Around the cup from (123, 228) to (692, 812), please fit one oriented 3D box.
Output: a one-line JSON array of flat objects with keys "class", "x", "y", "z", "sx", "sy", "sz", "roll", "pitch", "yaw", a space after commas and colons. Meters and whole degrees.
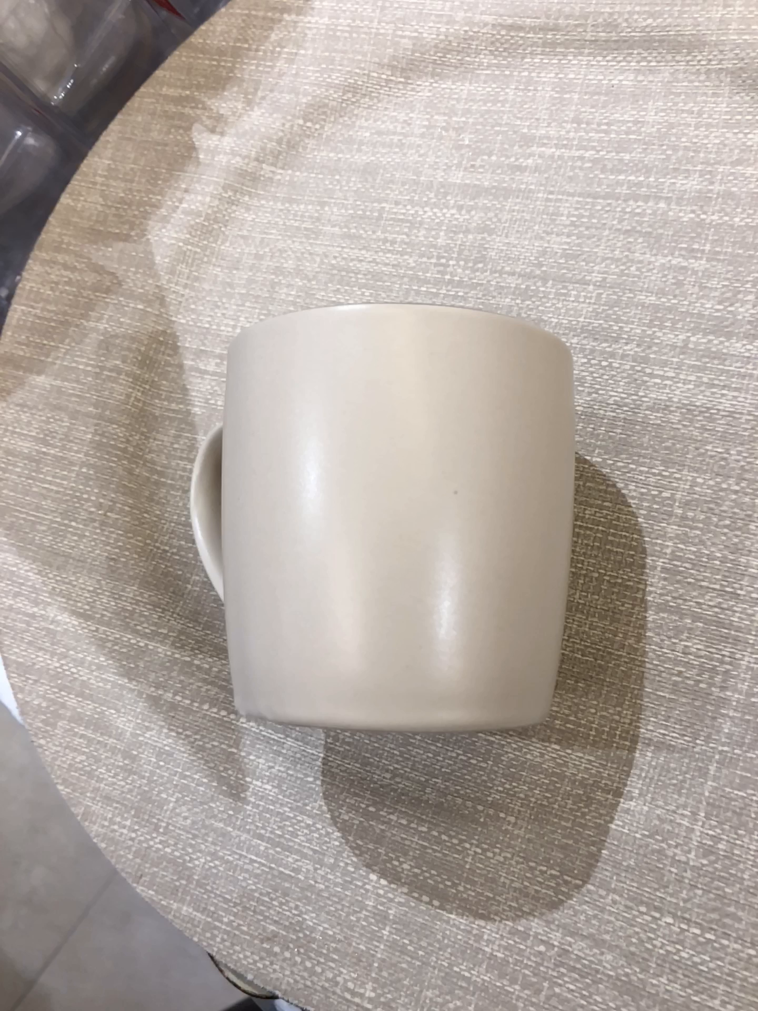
[{"class": "cup", "x": 0.001, "y": 0.010, "z": 0.192, "sx": 0.100, "sy": 0.080, "sz": 0.090, "roll": -12, "pitch": 74, "yaw": 54}]
